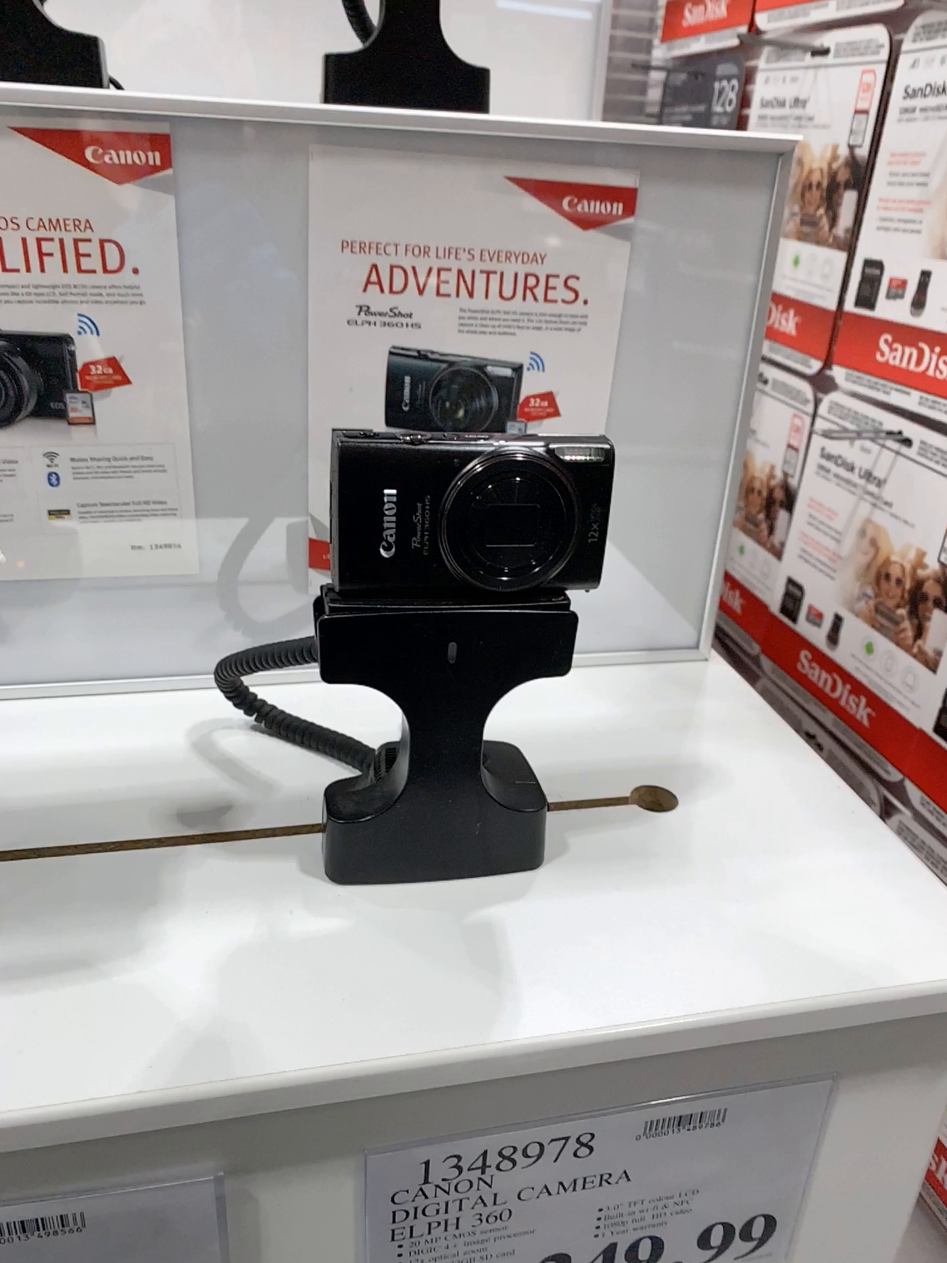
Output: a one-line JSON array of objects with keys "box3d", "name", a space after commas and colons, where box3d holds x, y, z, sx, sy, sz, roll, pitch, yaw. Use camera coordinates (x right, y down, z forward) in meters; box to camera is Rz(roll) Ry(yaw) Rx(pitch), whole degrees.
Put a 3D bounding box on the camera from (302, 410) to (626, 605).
[{"box3d": [-0.006, -0.046, 0.360, 0.110, 0.060, 0.040, -1, 24, -11], "name": "camera"}]
